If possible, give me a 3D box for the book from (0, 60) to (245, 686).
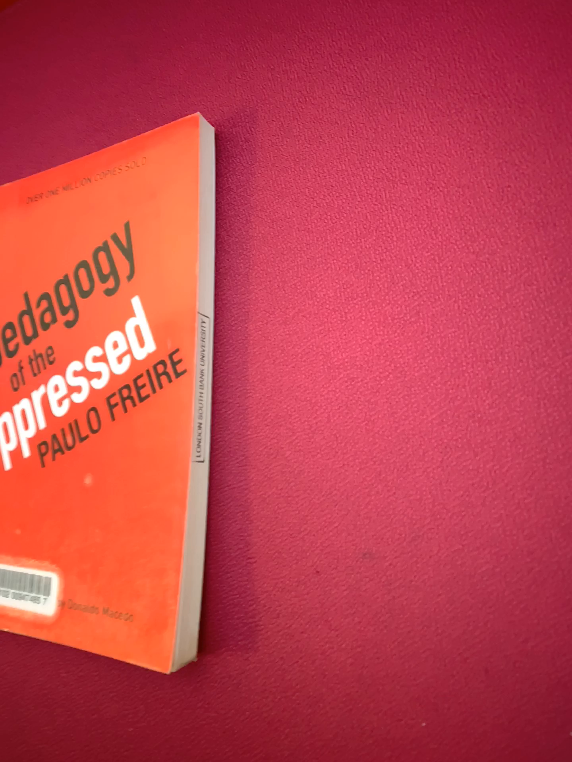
[{"bbox_3d":[-0.101,-0.005,0.278,0.171,0.030,0.240,-5,79,30],"label":"book"}]
